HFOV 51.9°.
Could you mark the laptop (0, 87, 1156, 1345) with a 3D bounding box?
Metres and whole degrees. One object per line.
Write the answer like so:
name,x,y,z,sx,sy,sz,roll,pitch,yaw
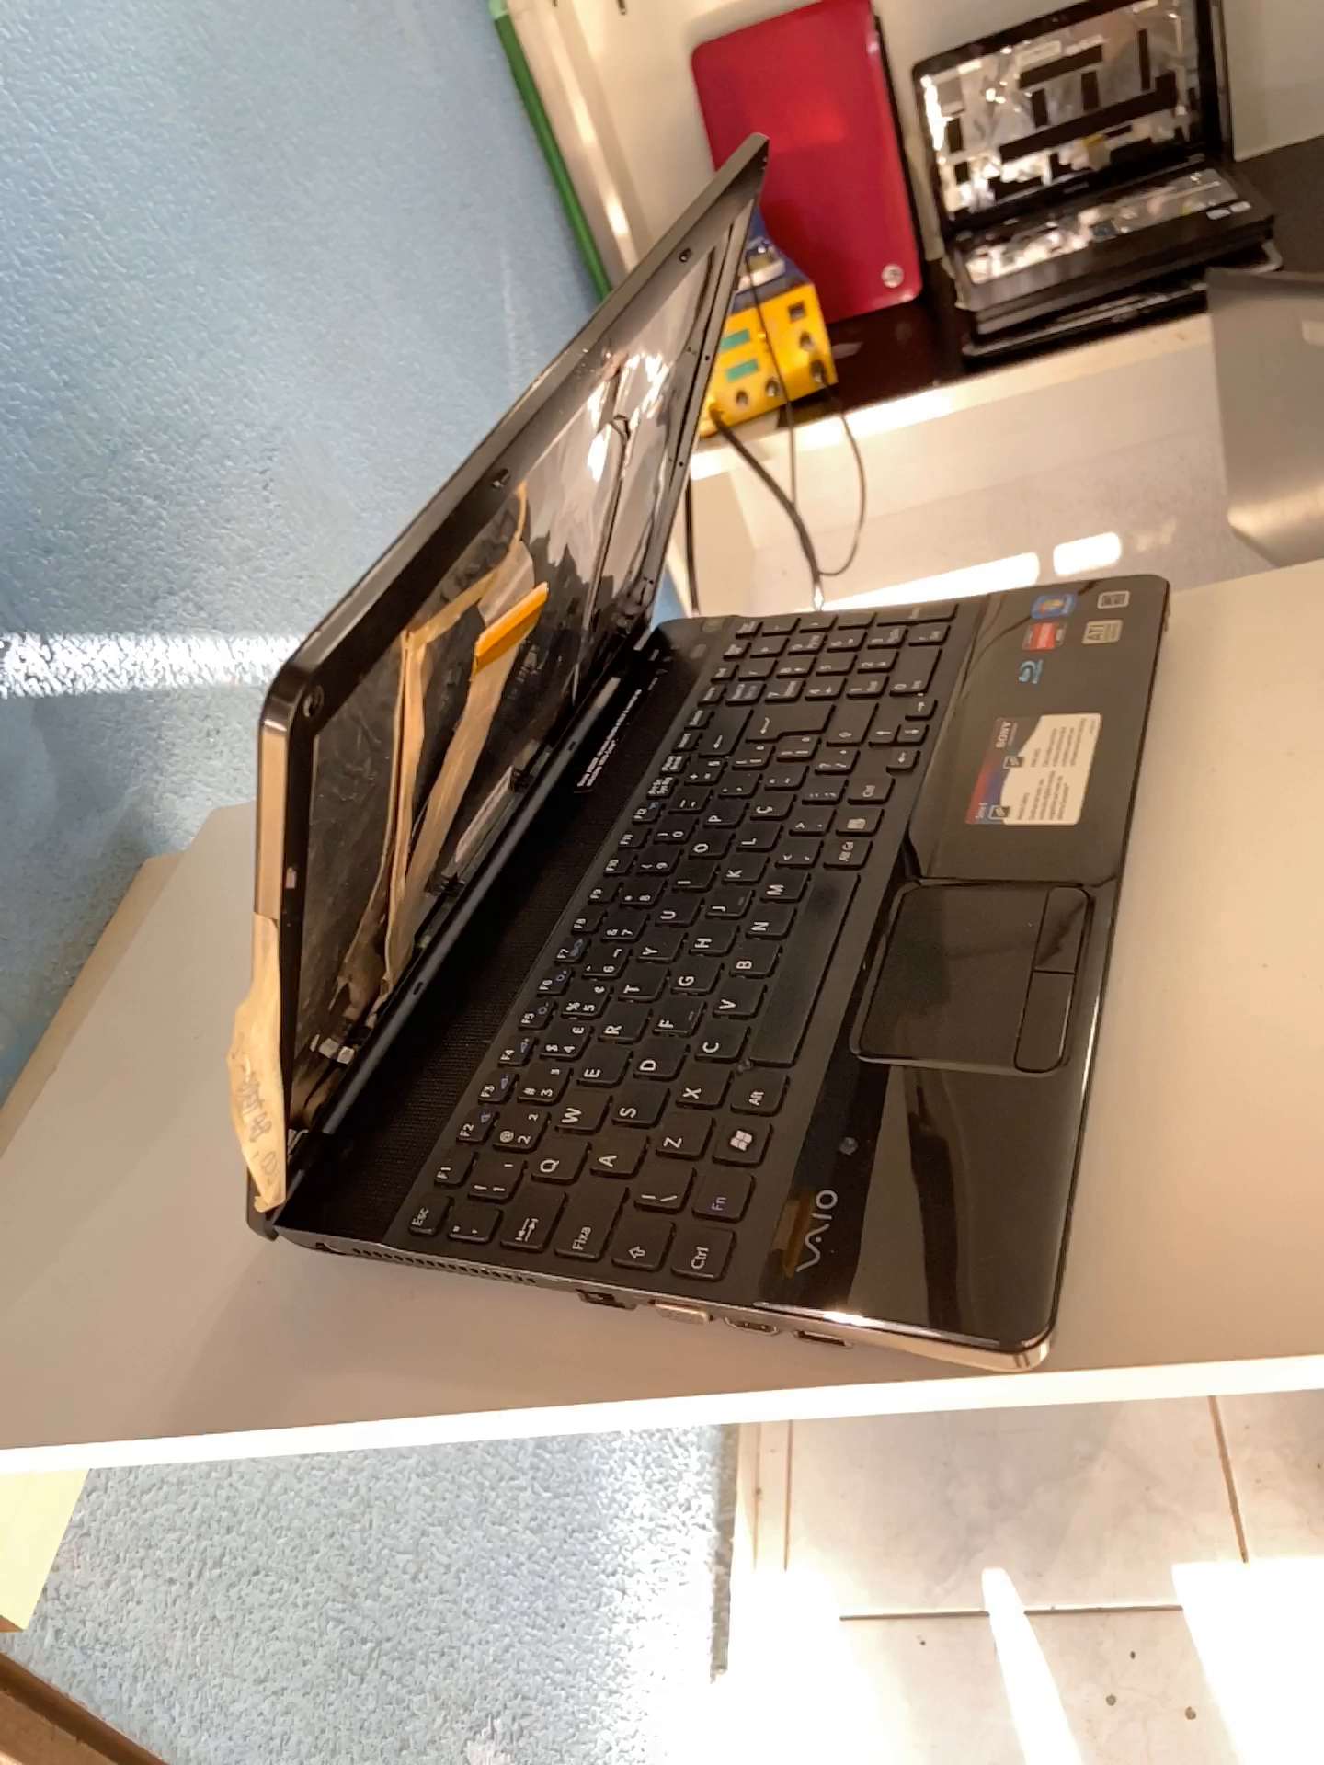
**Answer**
laptop,0.008,-0.081,0.456,0.242,0.193,0.366,-1,41,27
